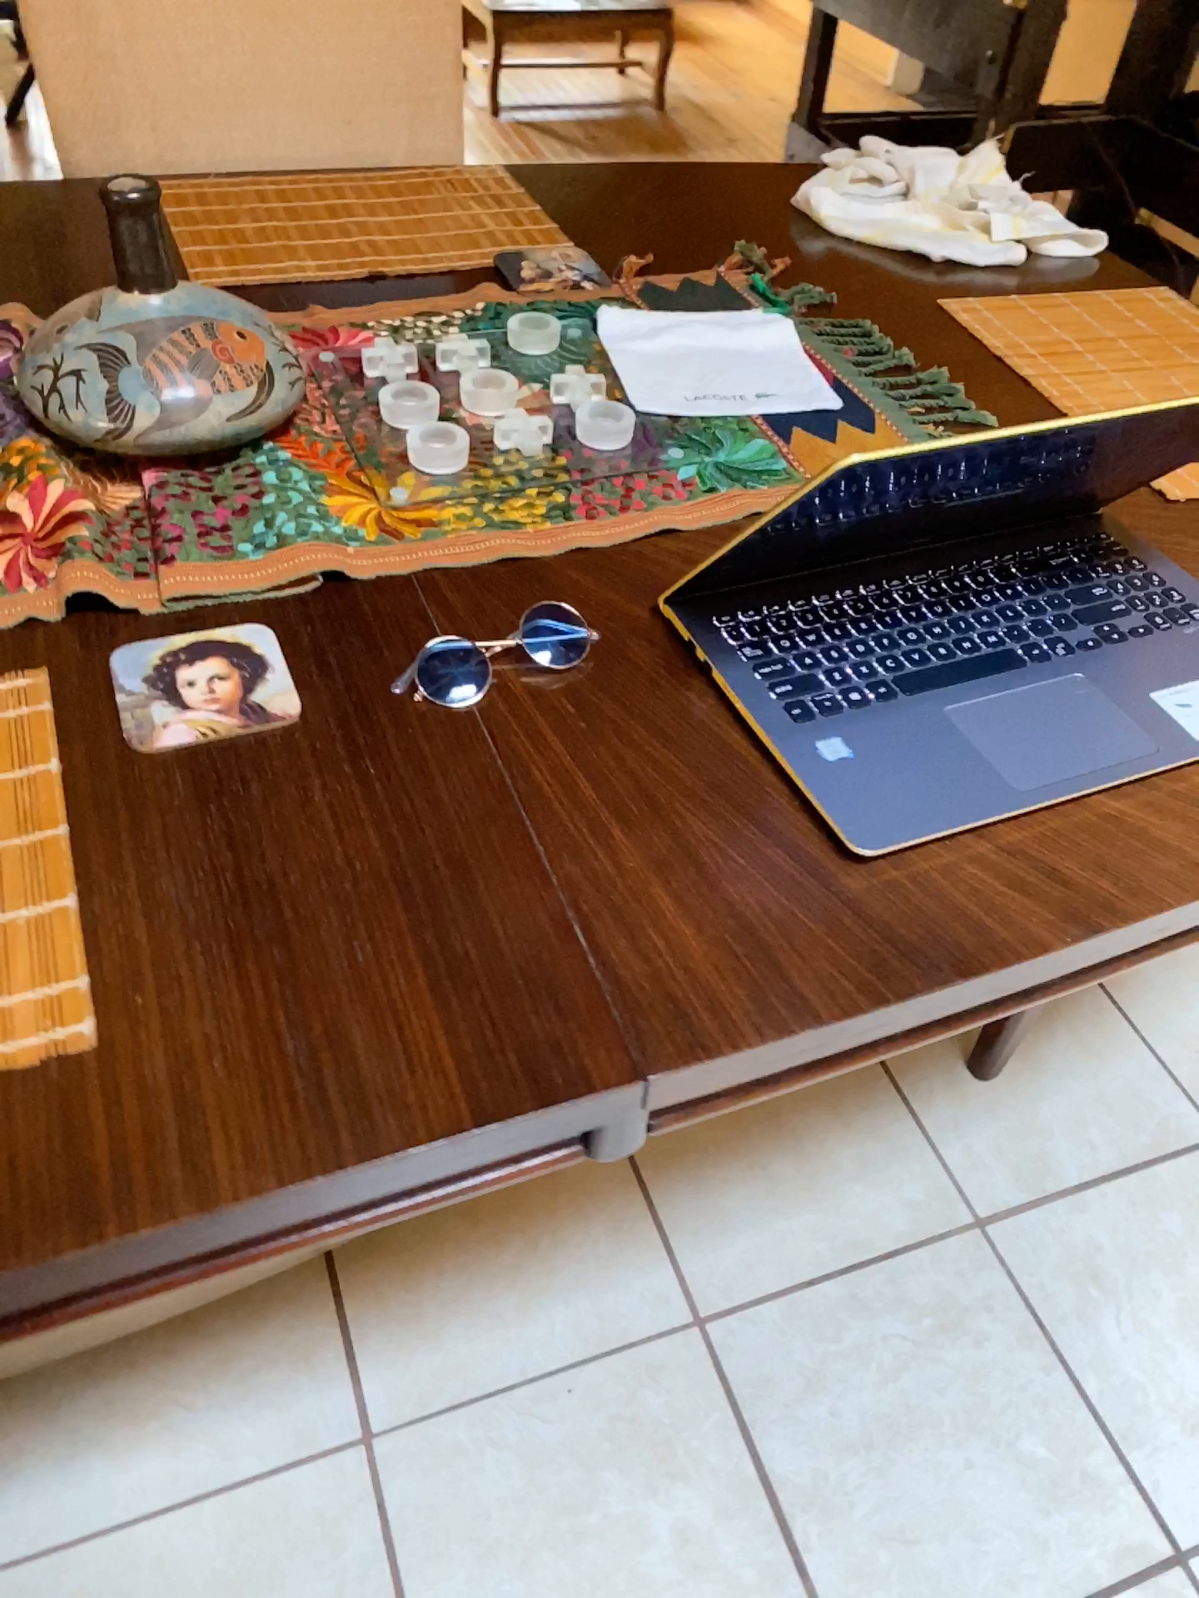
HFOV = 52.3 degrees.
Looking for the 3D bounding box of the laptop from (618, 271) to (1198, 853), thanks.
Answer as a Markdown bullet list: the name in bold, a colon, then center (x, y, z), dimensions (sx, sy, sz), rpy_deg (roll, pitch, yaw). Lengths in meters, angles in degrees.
- **laptop**: center (0.241, -0.164, 0.744), dimensions (0.377, 0.181, 0.251), rpy_deg (-15, 48, -21)
